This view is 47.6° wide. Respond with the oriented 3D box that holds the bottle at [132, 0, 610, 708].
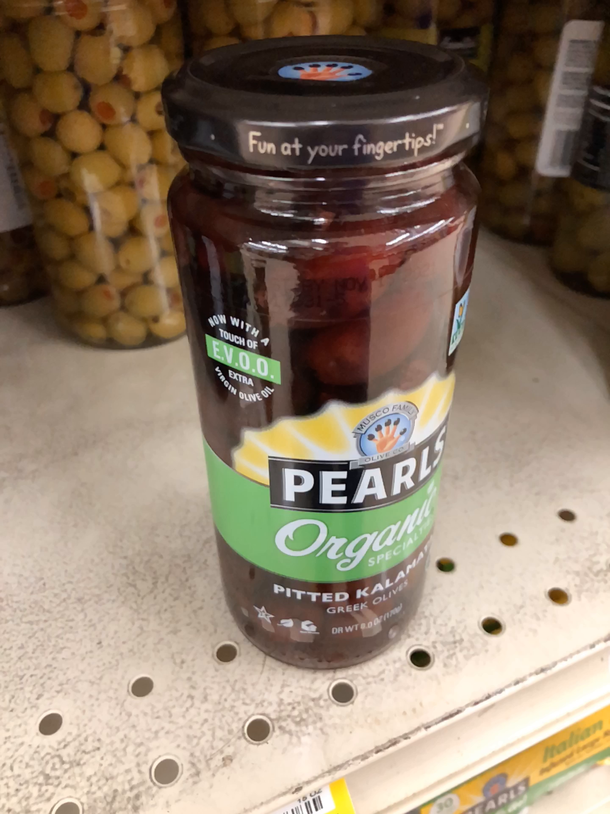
[{"bbox_3d":[0.008,-0.004,0.163,0.063,0.150,0.060,0,39,0],"label":"bottle"}]
